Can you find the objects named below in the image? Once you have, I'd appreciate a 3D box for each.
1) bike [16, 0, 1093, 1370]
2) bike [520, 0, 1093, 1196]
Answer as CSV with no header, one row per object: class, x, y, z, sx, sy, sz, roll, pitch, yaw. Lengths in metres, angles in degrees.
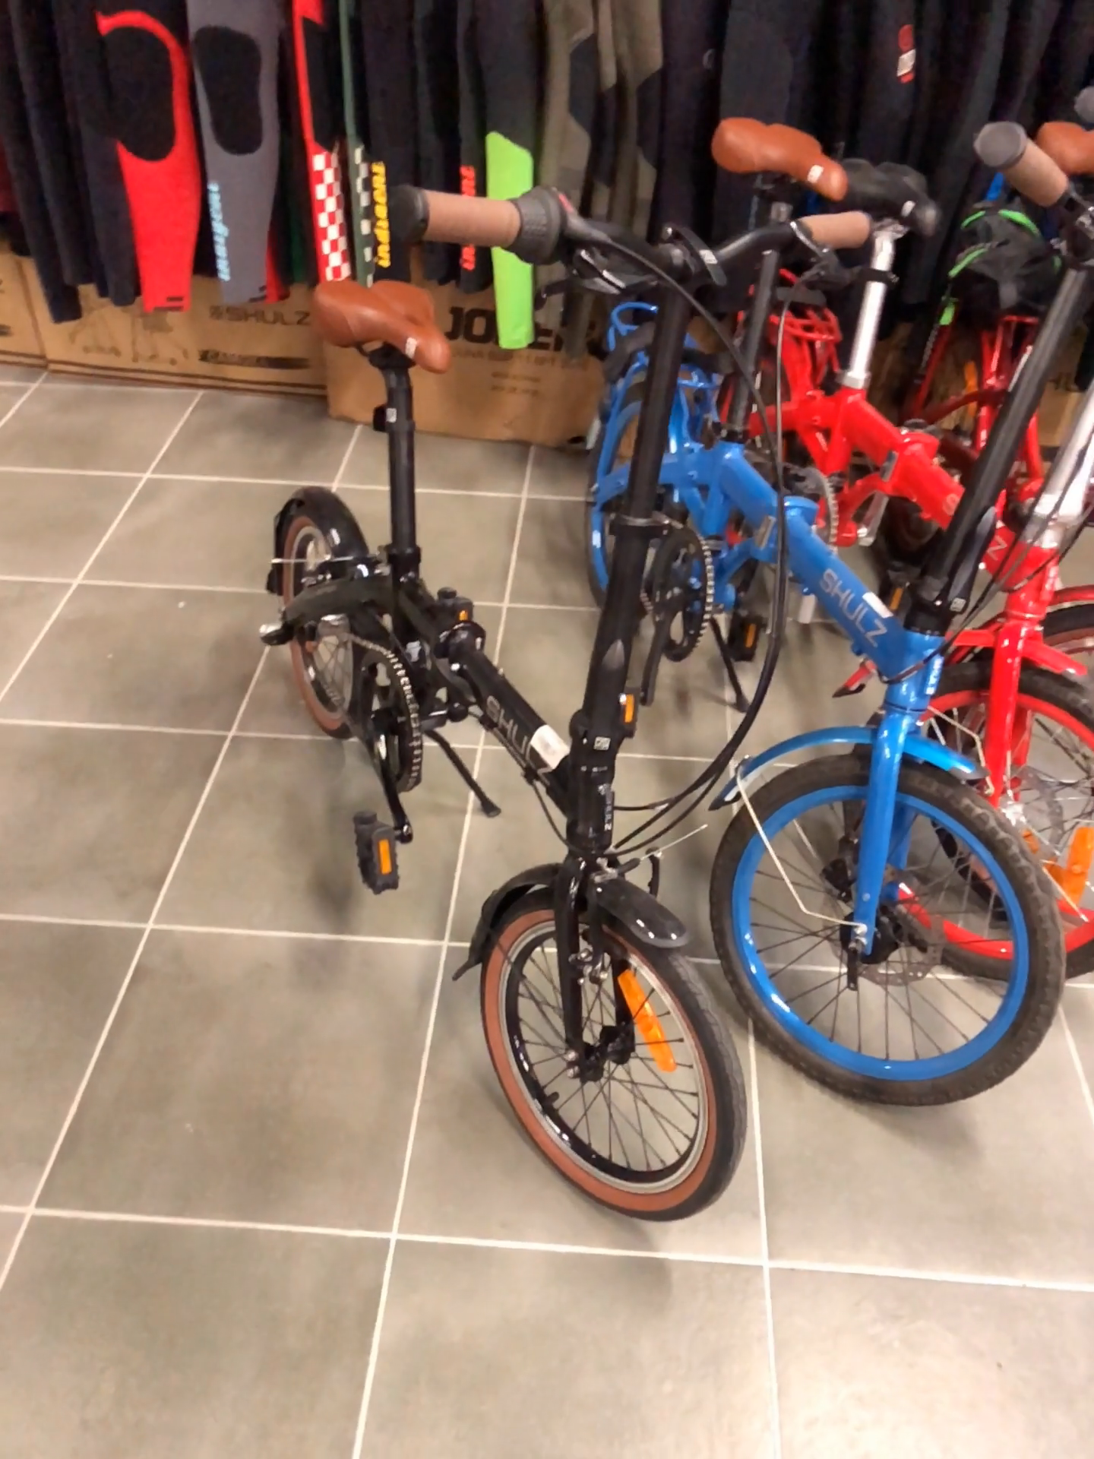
bike,-0.082,-0.207,1.431,0.565,1.057,1.278,-20,43,-23
bike,0.444,-0.339,1.660,0.567,1.029,1.379,-12,43,-15
